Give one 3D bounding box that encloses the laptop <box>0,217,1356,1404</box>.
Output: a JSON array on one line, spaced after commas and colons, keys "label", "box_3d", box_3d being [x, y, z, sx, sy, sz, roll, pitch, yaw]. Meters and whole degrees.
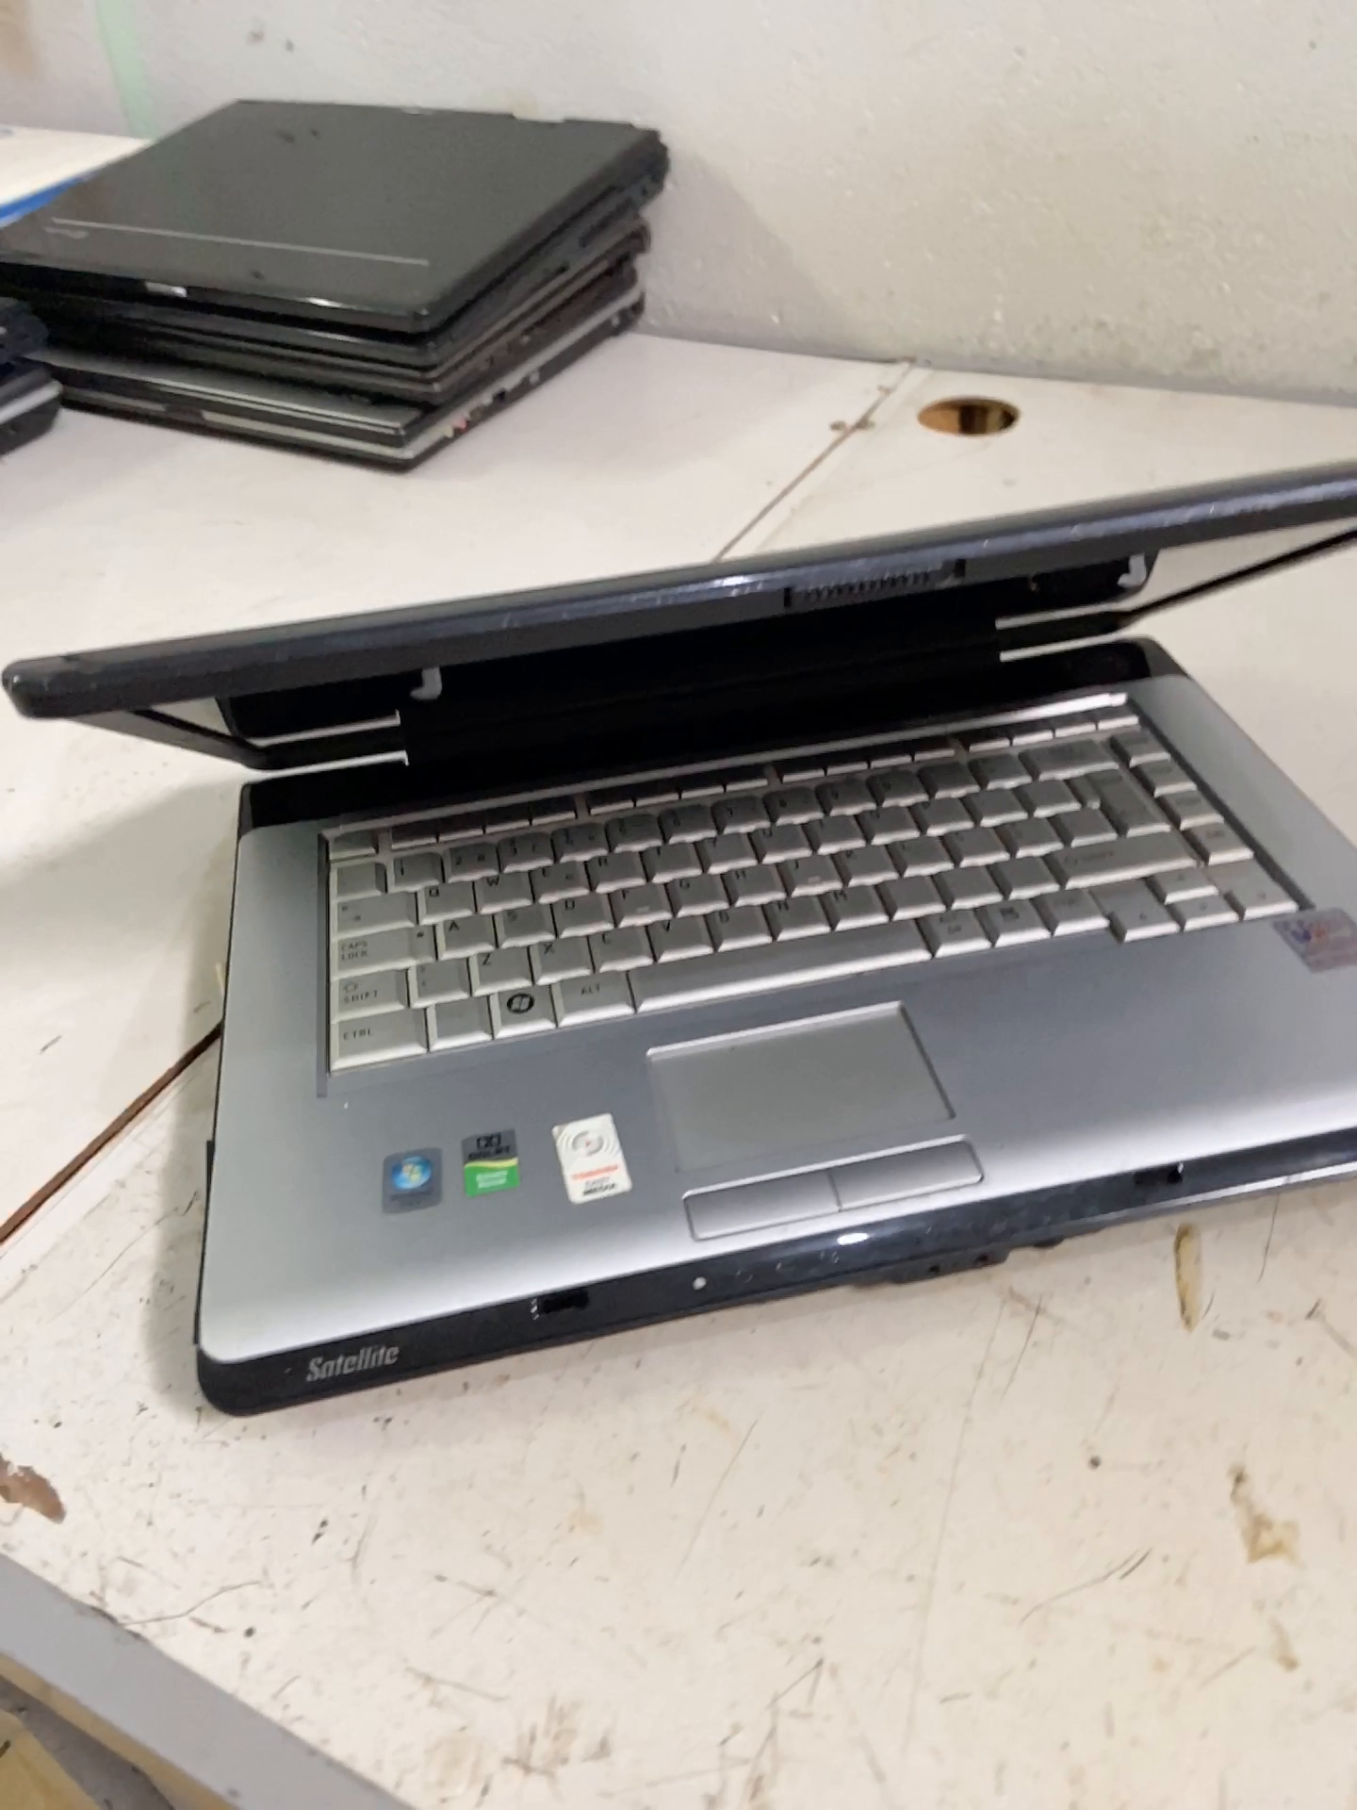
[{"label": "laptop", "box_3d": [0.032, -0.056, 0.387, 0.346, 0.152, 0.259, -10, 40, -7]}]
